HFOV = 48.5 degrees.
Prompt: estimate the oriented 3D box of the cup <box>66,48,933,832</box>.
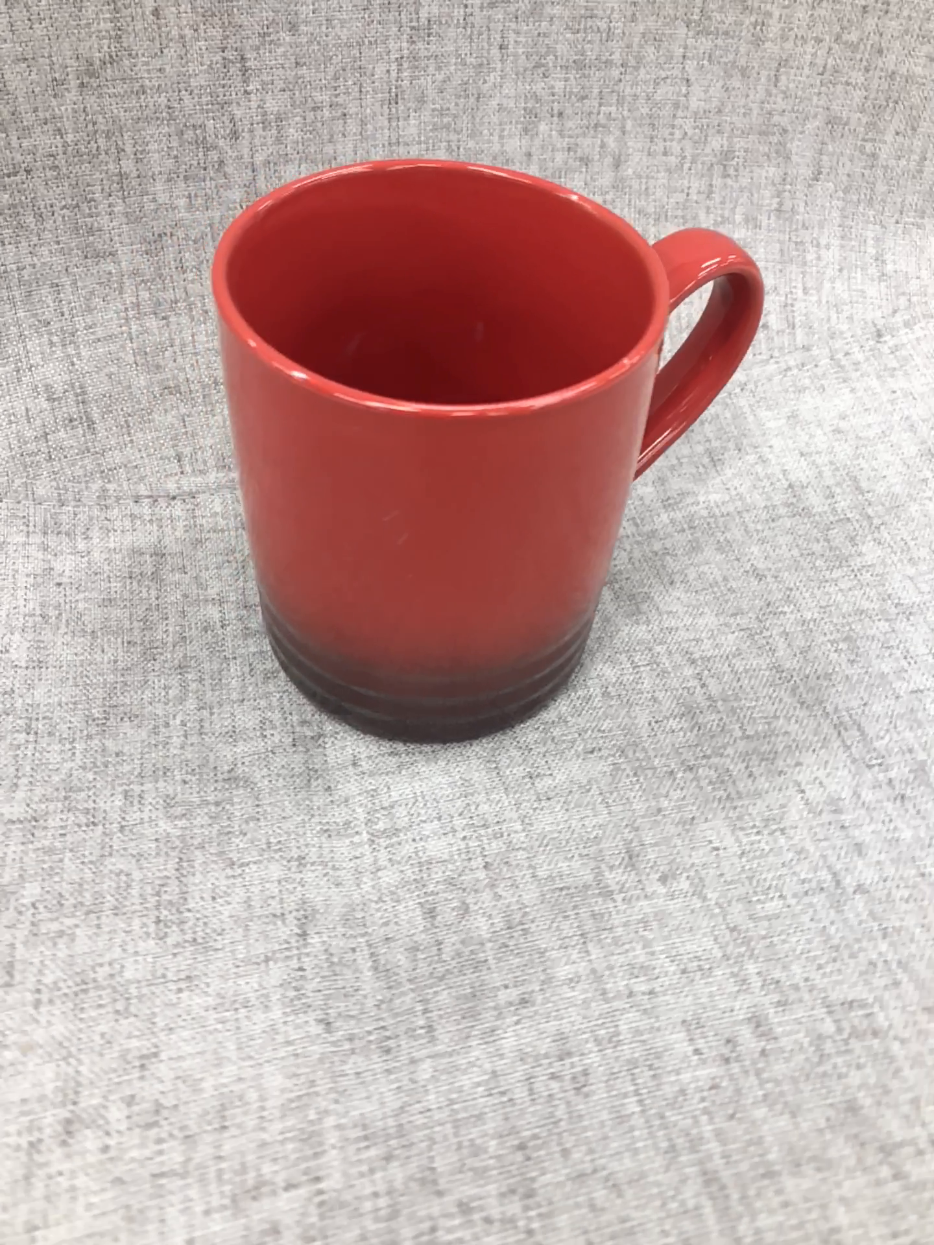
[{"bbox_3d":[0.008,-0.043,0.228,0.140,0.099,0.080,-28,58,-23],"label":"cup"}]
